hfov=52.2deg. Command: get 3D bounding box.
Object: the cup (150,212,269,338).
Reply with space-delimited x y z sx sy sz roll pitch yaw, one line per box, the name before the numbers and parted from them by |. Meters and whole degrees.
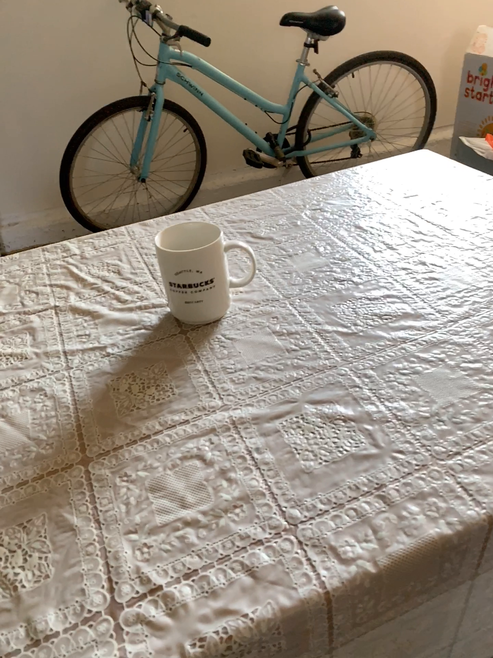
cup | -0.047 -0.070 0.648 0.130 0.109 0.090 -10 37 -3
